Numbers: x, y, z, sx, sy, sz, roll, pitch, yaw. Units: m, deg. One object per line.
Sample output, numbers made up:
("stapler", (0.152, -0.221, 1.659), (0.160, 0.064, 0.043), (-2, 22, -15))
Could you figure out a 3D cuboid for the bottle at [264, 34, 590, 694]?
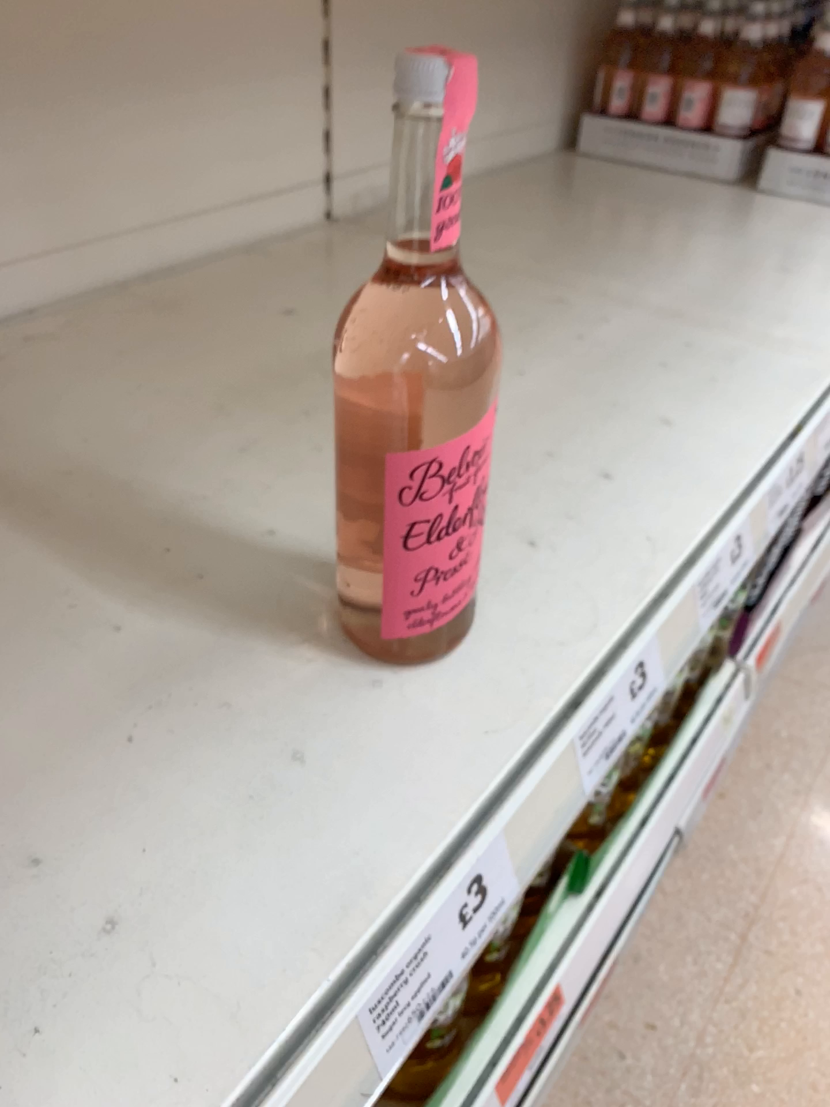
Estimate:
("bottle", (-0.002, -0.076, 0.403), (0.087, 0.274, 0.087), (2, 36, -1))
